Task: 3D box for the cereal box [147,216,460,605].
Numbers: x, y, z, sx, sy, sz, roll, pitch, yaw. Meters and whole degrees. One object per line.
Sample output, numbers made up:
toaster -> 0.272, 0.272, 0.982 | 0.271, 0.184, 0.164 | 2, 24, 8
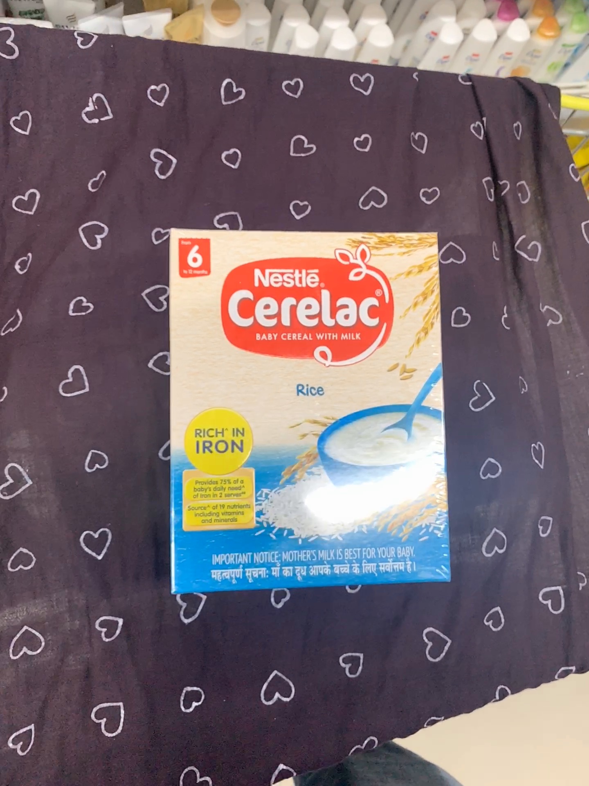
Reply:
cereal box -> 0.002, 0.006, 0.342 | 0.160, 0.040, 0.200 | -1, 85, -7
